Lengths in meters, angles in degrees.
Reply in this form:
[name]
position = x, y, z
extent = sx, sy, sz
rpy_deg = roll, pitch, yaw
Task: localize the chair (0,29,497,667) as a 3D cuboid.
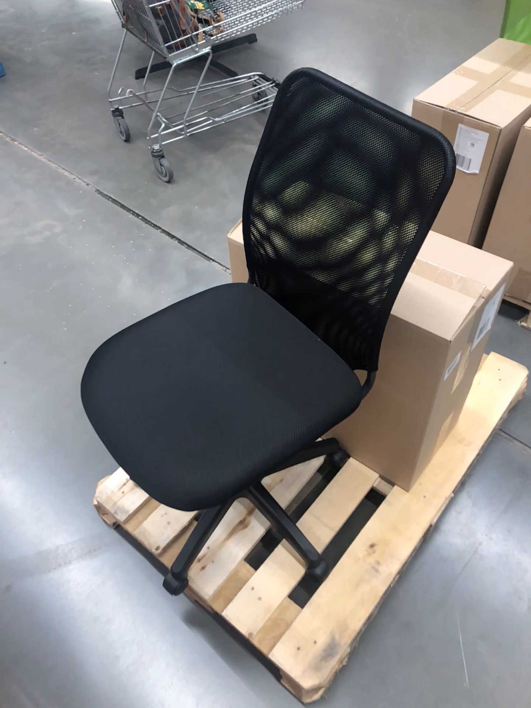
[chair]
position = -0.087, 0.046, 1.189
extent = 0.572, 1.033, 0.602
rpy_deg = -32, 54, -24
